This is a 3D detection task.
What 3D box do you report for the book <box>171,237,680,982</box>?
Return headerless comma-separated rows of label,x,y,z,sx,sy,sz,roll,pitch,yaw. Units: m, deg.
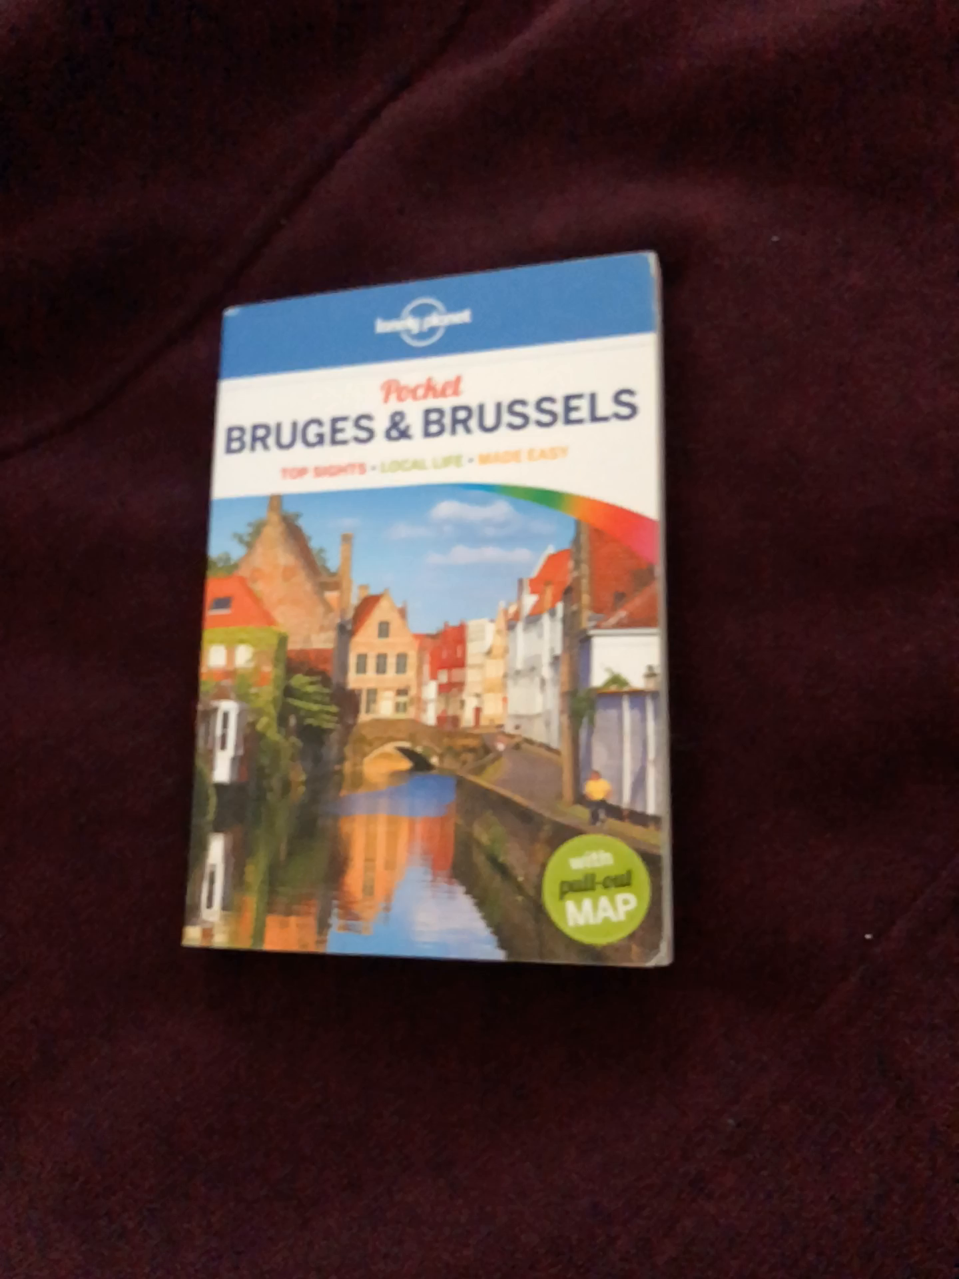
book,-0.012,-0.008,0.248,0.110,0.016,0.158,-2,79,17
